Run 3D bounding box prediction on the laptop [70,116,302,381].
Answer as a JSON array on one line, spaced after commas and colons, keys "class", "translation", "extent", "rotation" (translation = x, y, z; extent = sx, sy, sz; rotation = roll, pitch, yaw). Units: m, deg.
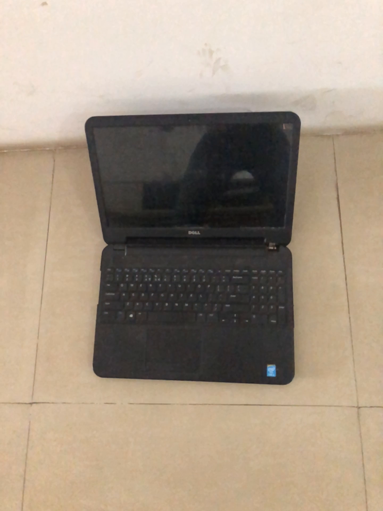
[{"class": "laptop", "translation": [0.002, -0.008, 0.715], "extent": [0.322, 0.166, 0.409], "rotation": [0, 75, 5]}]
